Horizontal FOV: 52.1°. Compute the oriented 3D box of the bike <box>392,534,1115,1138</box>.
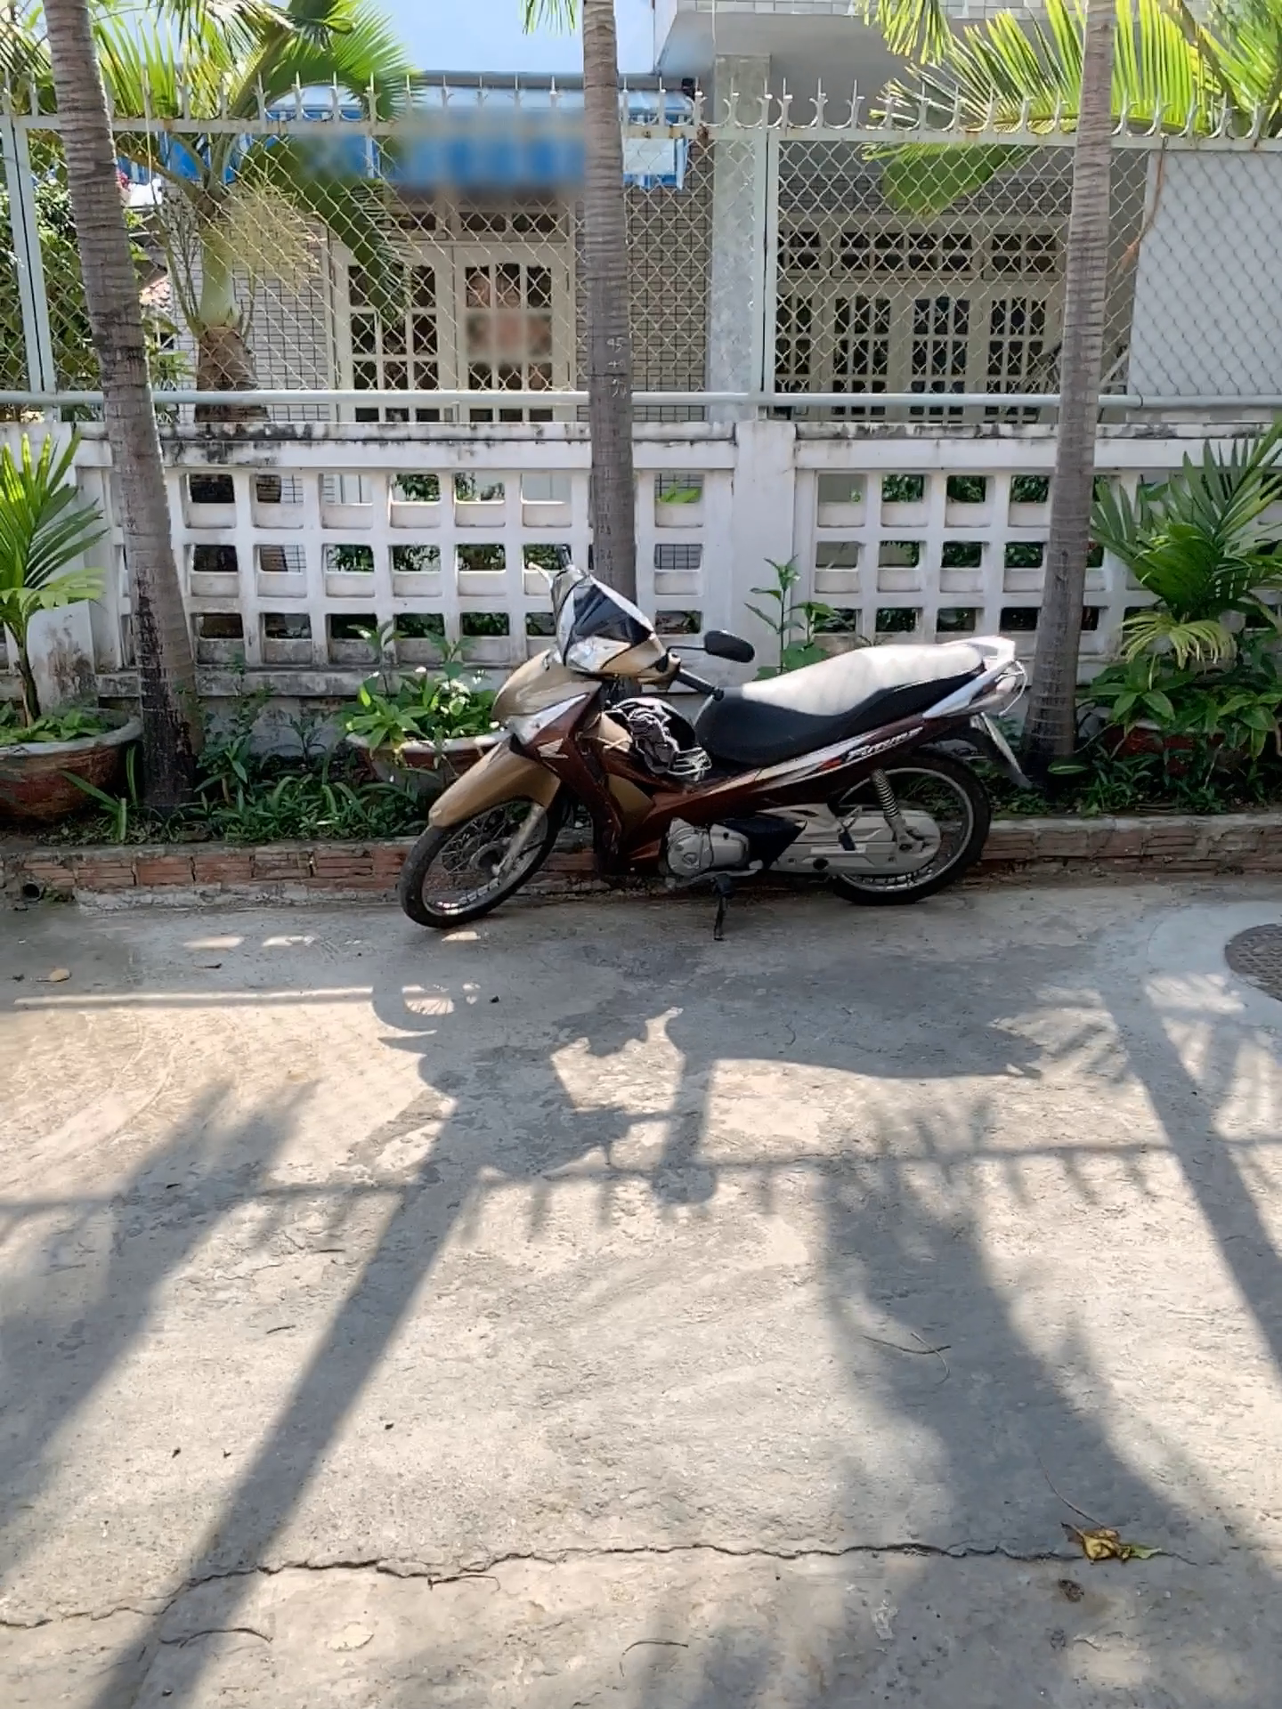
[{"bbox_3d":[0.311,-0.144,3.796,1.975,1.443,0.614,-5,17,-17],"label":"bike"}]
